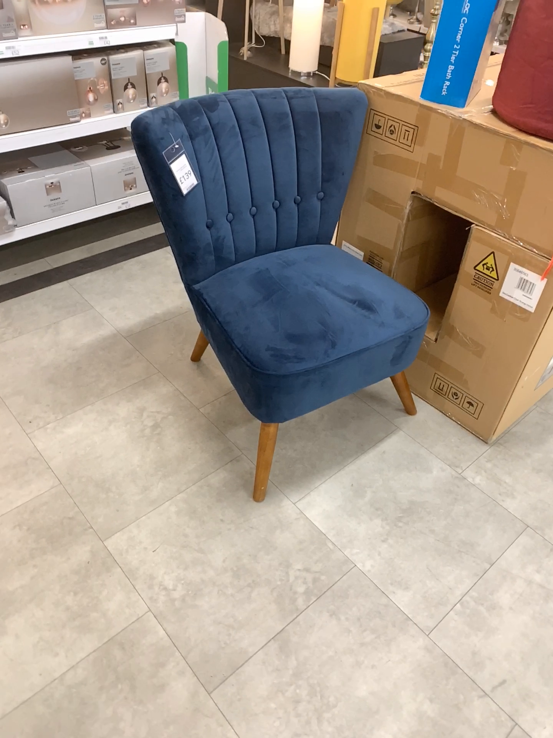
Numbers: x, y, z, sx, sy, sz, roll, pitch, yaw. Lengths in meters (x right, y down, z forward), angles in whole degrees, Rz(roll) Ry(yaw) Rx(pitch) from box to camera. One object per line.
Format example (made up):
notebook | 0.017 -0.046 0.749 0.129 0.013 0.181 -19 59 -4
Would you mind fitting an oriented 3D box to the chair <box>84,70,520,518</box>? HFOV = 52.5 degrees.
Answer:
chair | 0.015 -0.251 1.525 0.692 0.792 0.725 -23 48 -29
